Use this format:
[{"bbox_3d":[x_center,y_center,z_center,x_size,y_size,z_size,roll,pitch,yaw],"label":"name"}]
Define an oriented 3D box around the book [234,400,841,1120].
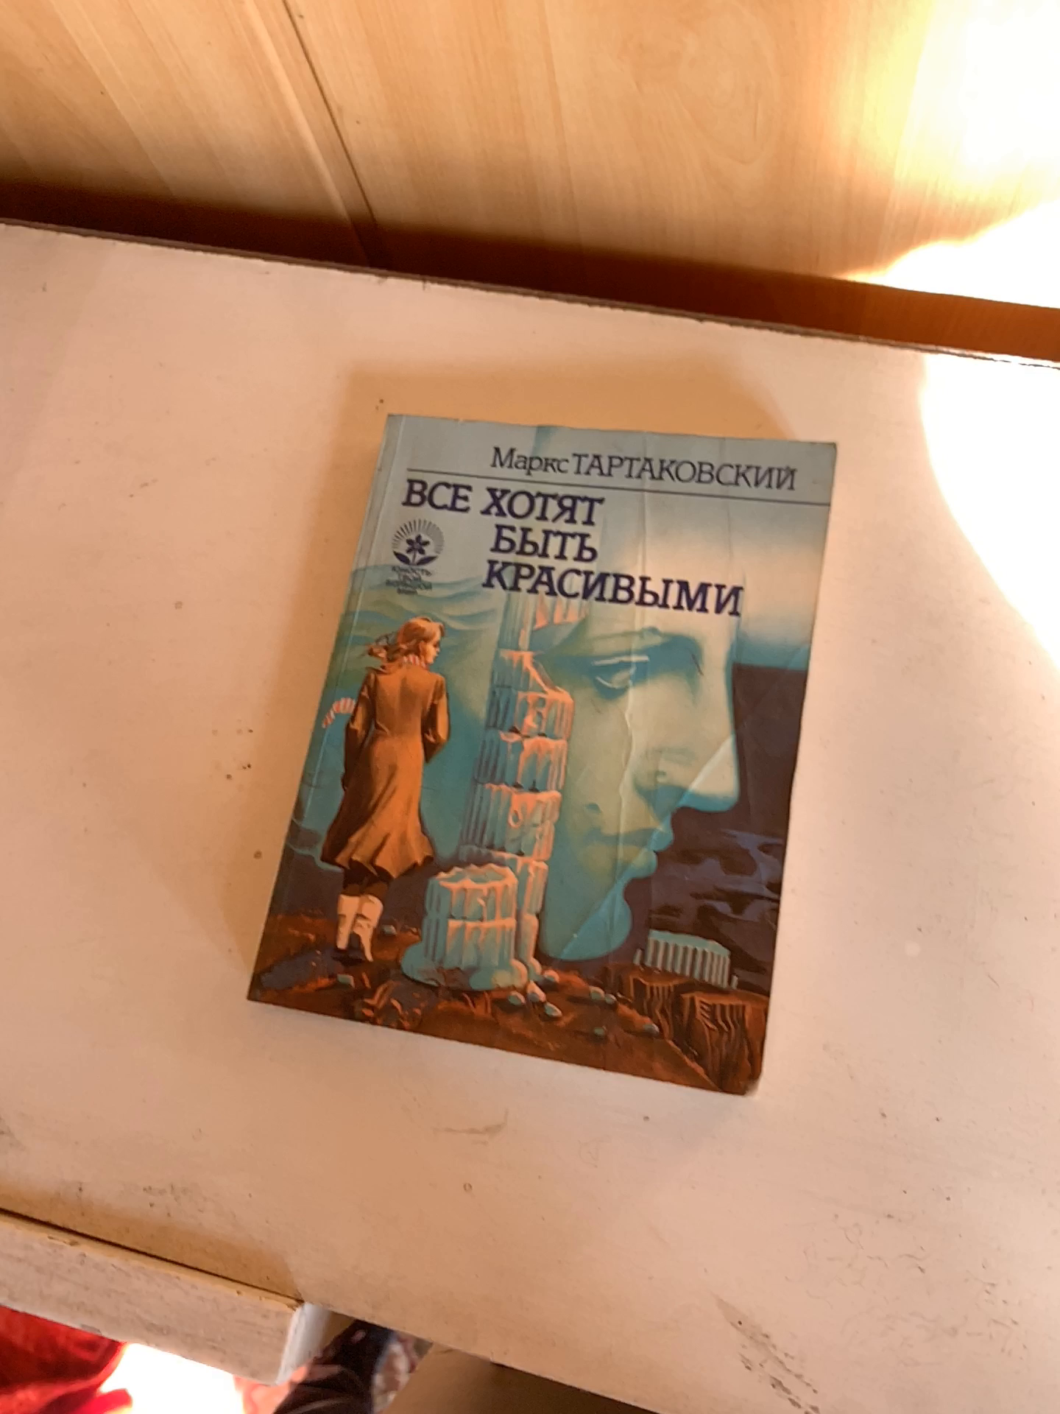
[{"bbox_3d":[0.005,0.004,0.266,0.120,0.013,0.160,7,75,13],"label":"book"}]
